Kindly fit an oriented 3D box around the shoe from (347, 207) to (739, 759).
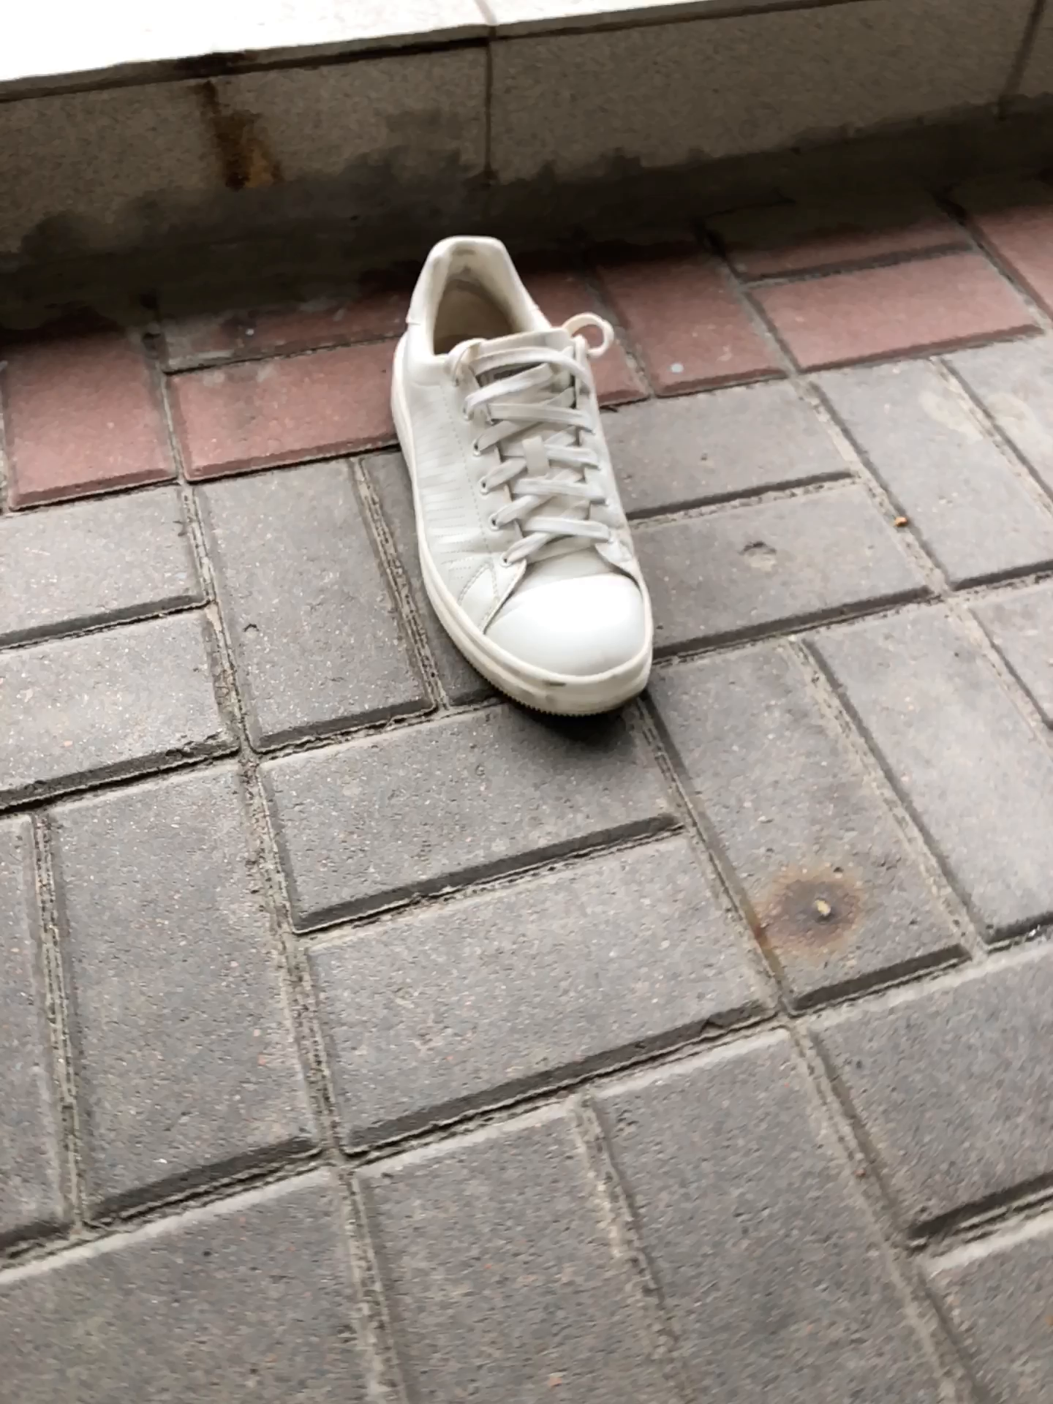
[{"bbox_3d":[-0.008,-0.131,0.629,0.110,0.119,0.293,-12,54,-15],"label":"shoe"}]
